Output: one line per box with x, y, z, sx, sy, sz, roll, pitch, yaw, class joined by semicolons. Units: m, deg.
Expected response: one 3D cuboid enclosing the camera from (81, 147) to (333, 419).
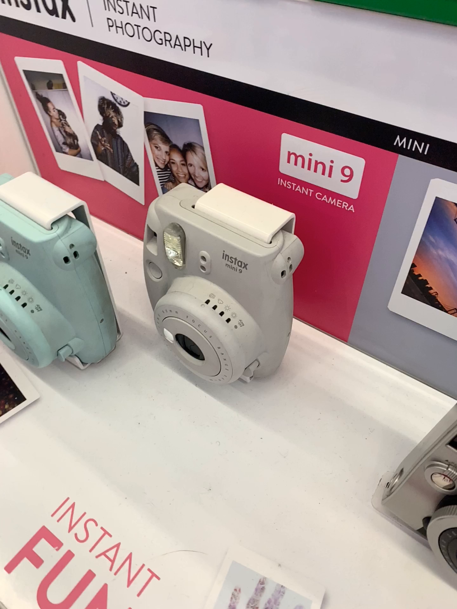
-0.011;-0.015;0.294;0.110;0.109;0.080;29;54;25;camera
